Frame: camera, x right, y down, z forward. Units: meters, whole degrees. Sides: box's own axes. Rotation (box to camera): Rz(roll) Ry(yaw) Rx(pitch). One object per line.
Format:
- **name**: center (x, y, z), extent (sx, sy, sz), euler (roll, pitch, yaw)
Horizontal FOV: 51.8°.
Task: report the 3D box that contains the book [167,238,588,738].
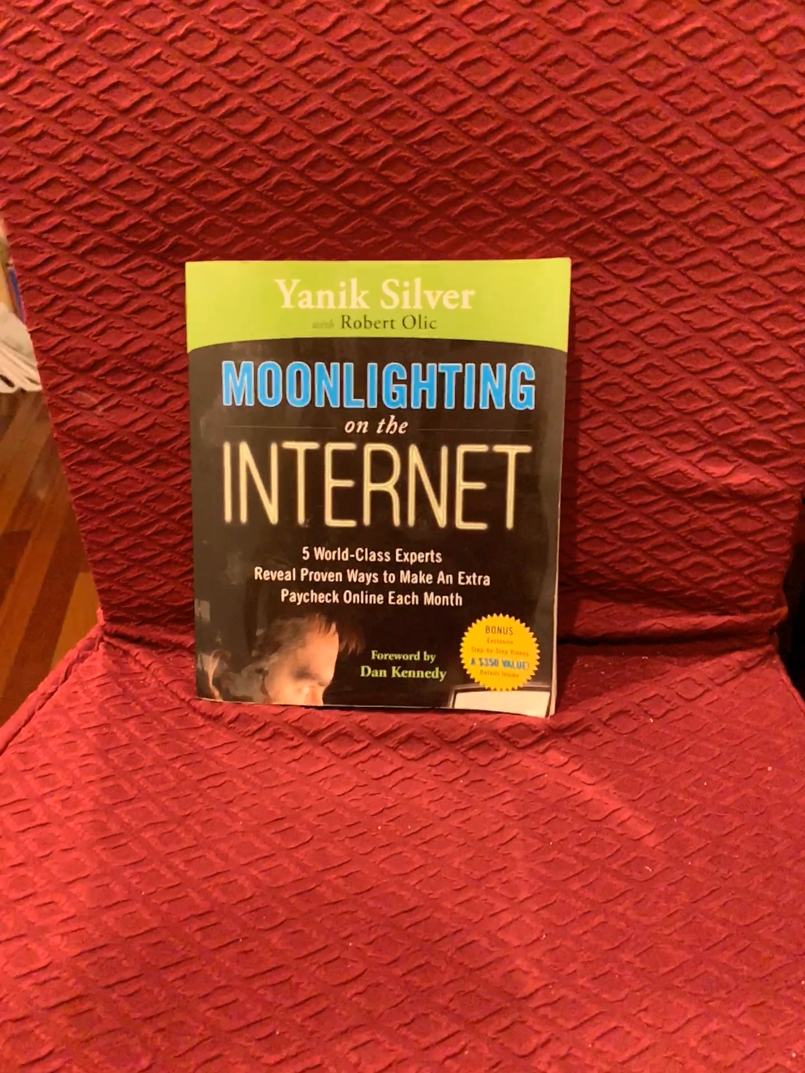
- **book**: center (-0.012, -0.022, 0.427), extent (0.200, 0.240, 0.040), euler (1, 8, 7)
